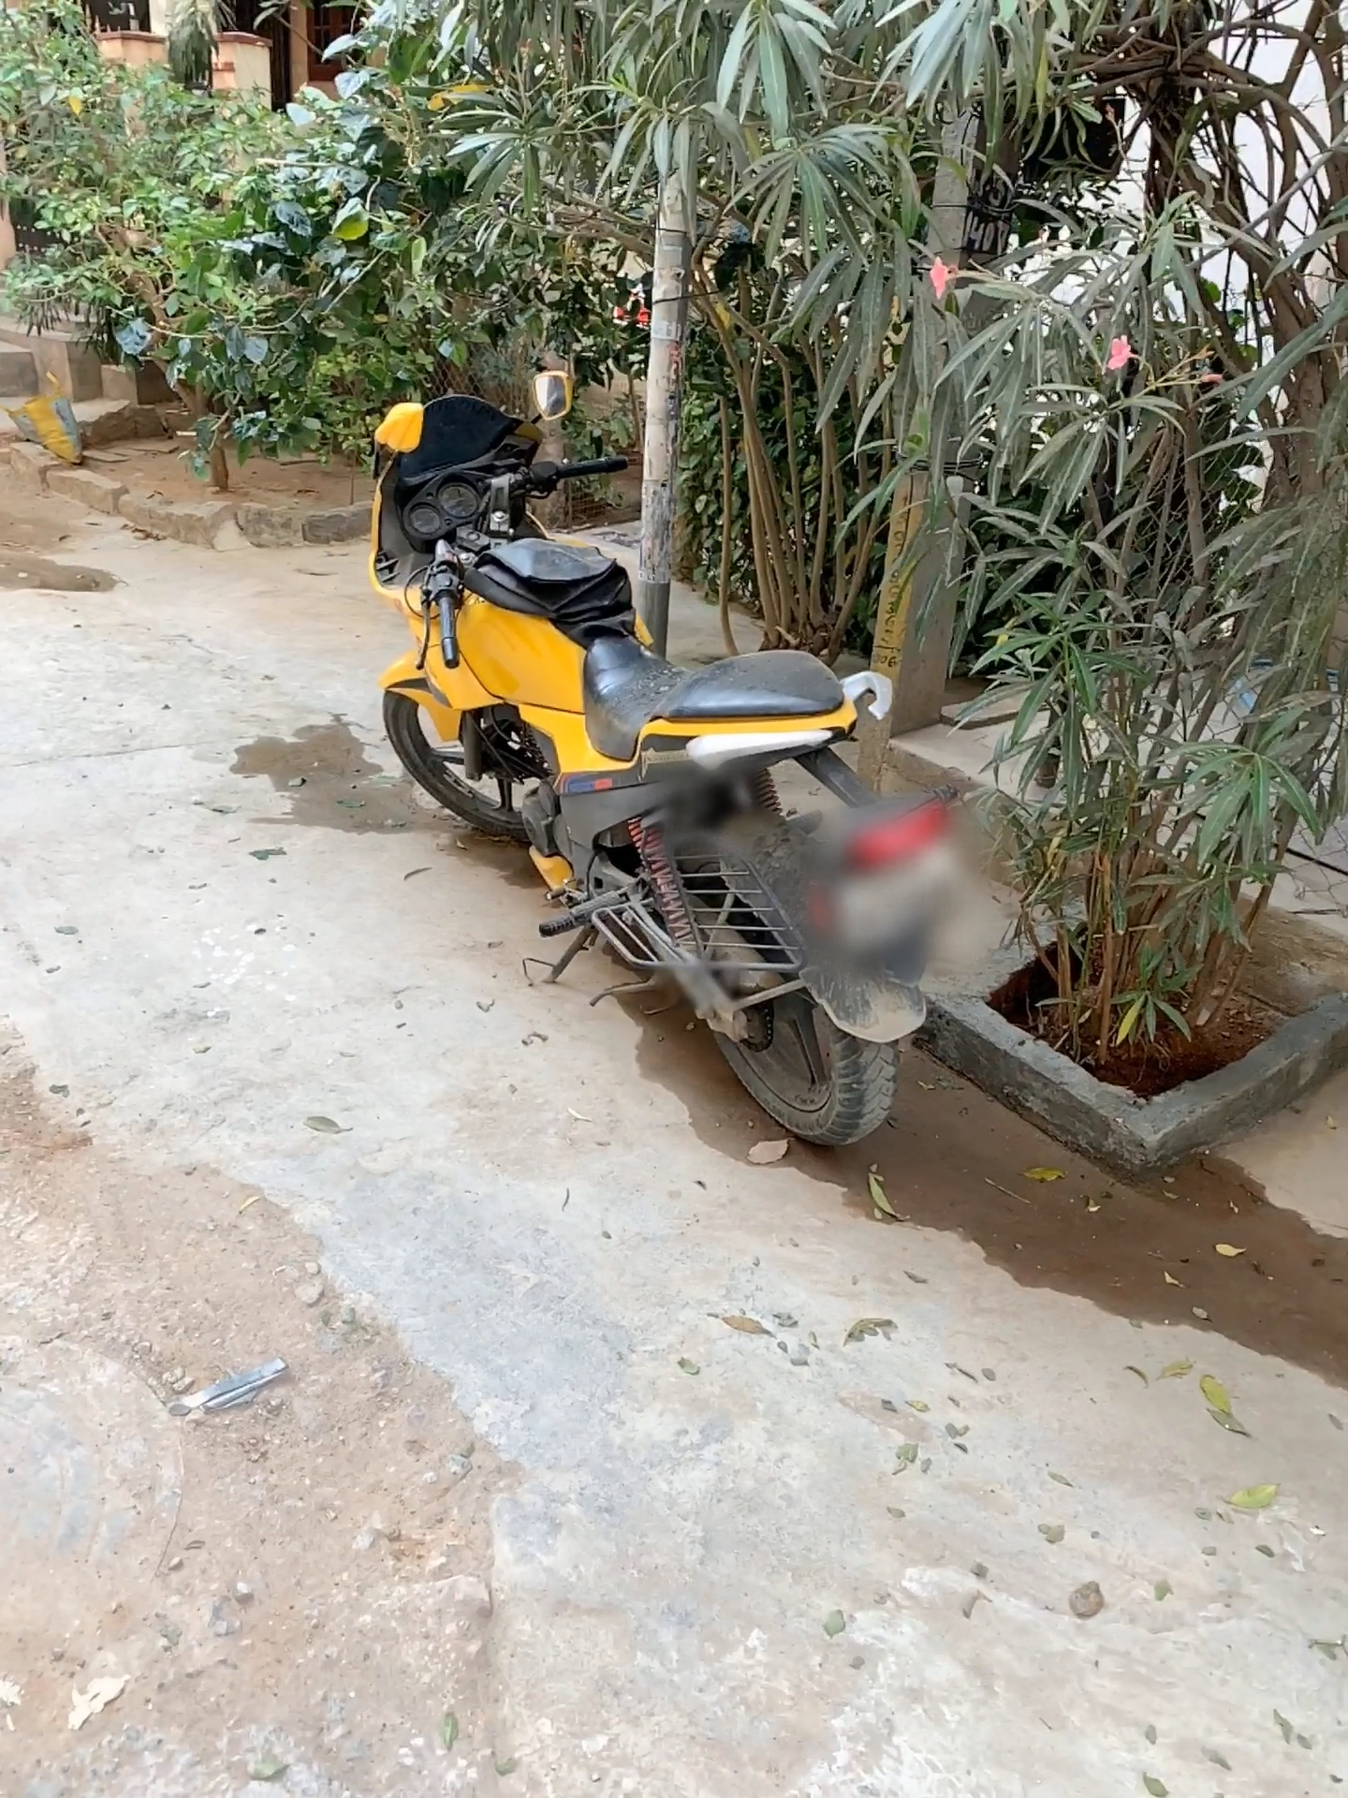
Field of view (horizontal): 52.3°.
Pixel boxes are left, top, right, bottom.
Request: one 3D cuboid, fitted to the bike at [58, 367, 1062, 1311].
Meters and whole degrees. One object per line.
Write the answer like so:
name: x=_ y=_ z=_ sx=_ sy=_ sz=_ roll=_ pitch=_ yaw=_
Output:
bike: x=-0.368 y=-0.299 z=2.574 sx=0.854 sy=0.954 sz=1.752 roll=-14 pitch=35 yaw=-34
